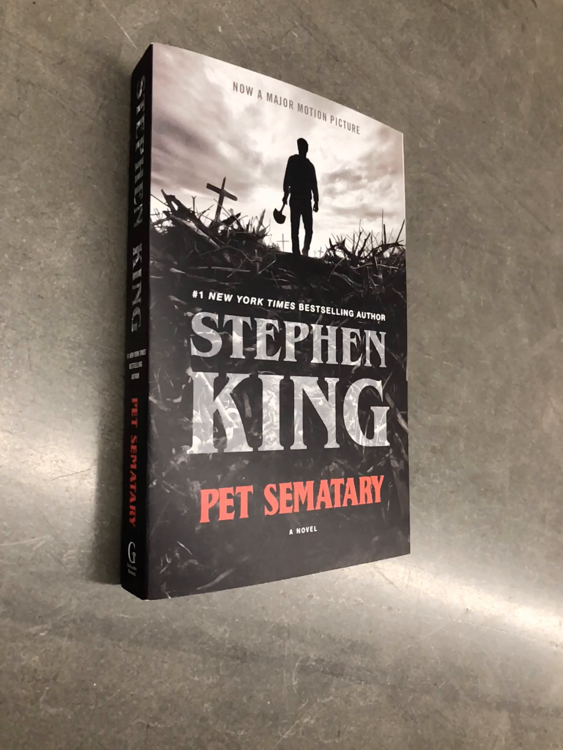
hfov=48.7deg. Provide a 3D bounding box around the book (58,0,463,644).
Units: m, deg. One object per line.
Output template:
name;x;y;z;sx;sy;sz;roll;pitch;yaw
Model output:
book;0.001;-0.027;0.257;0.161;0.050;0.220;2;90;-39
